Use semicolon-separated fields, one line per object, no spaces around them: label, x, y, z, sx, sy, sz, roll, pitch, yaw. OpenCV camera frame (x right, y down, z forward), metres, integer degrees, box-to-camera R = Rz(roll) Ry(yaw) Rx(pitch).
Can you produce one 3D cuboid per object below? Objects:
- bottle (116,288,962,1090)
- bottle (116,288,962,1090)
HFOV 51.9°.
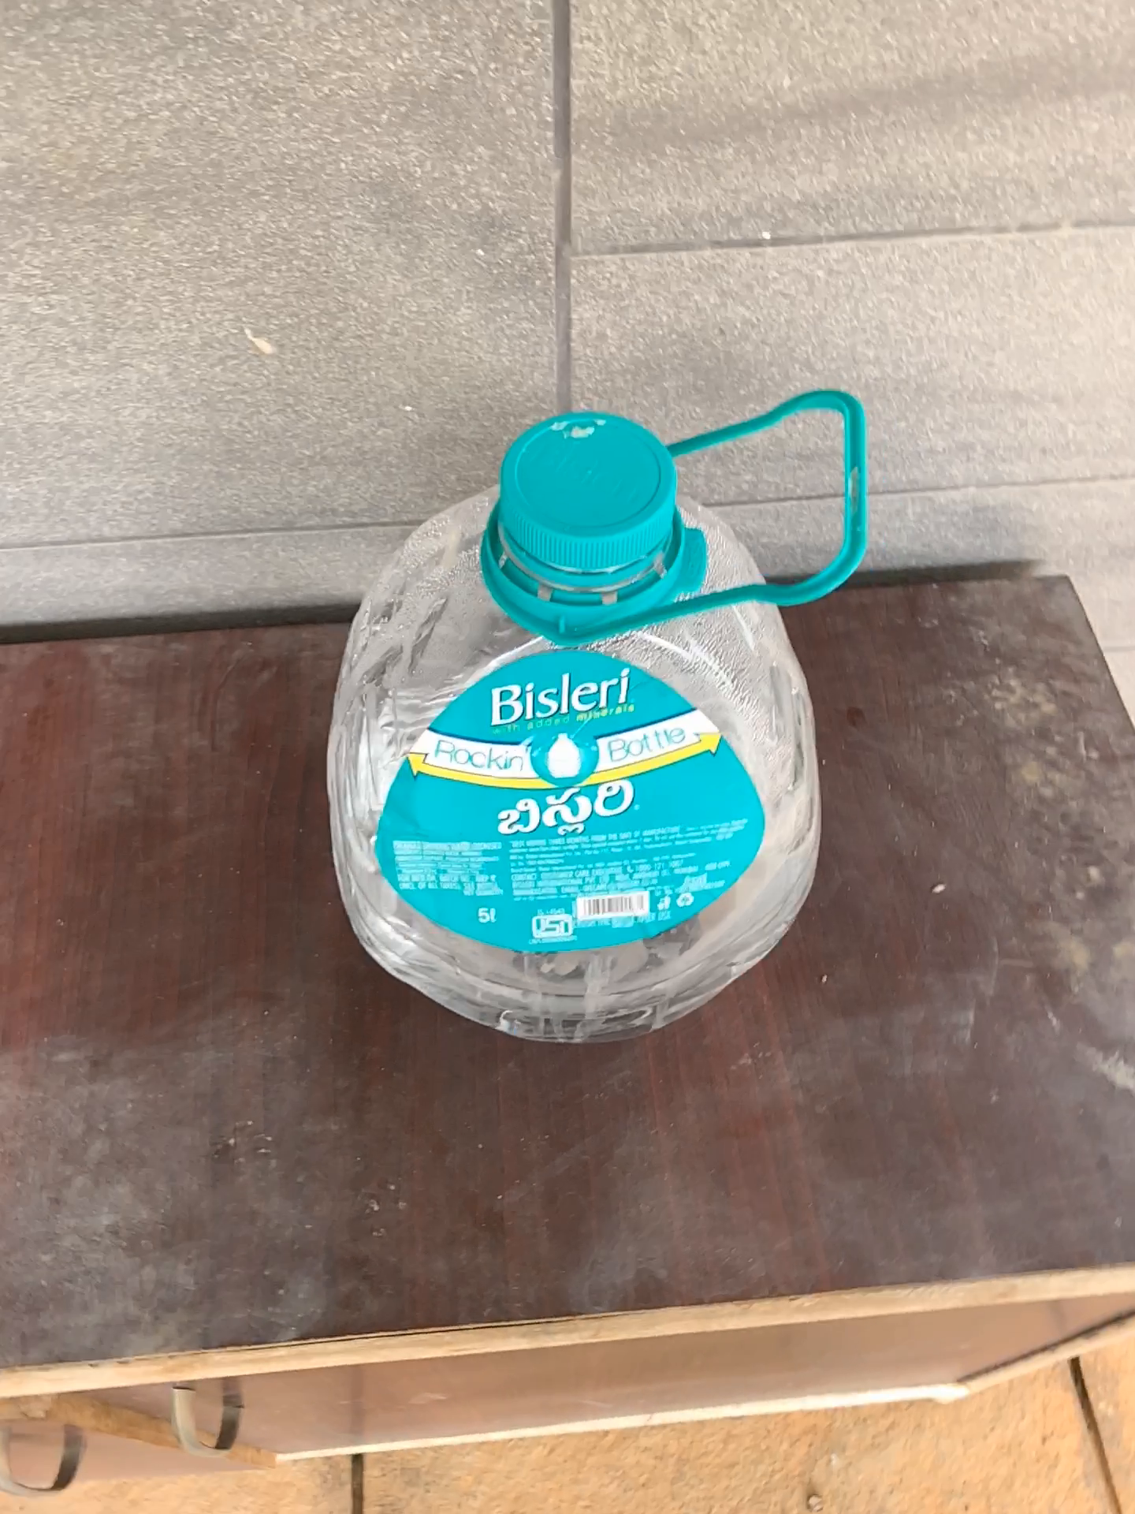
bottle;-0.010;-0.011;0.417;0.200;0.219;0.180;-3;56;-1
bottle;-0.010;-0.011;0.417;0.200;0.219;0.180;-3;56;-1
